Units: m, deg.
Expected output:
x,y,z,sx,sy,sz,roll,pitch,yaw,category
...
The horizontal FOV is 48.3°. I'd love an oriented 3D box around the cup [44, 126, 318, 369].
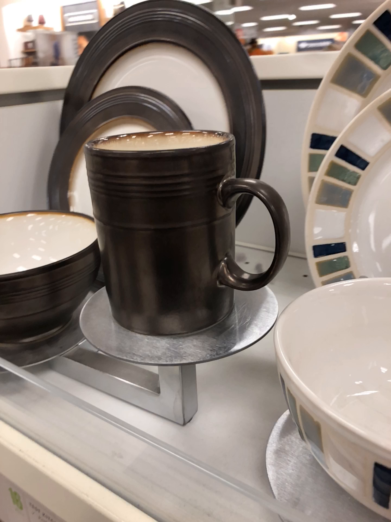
x,y,z,sx,sy,sz,roll,pitch,yaw,category
-0.002,-0.018,0.249,0.119,0.102,0.084,8,25,22,cup
